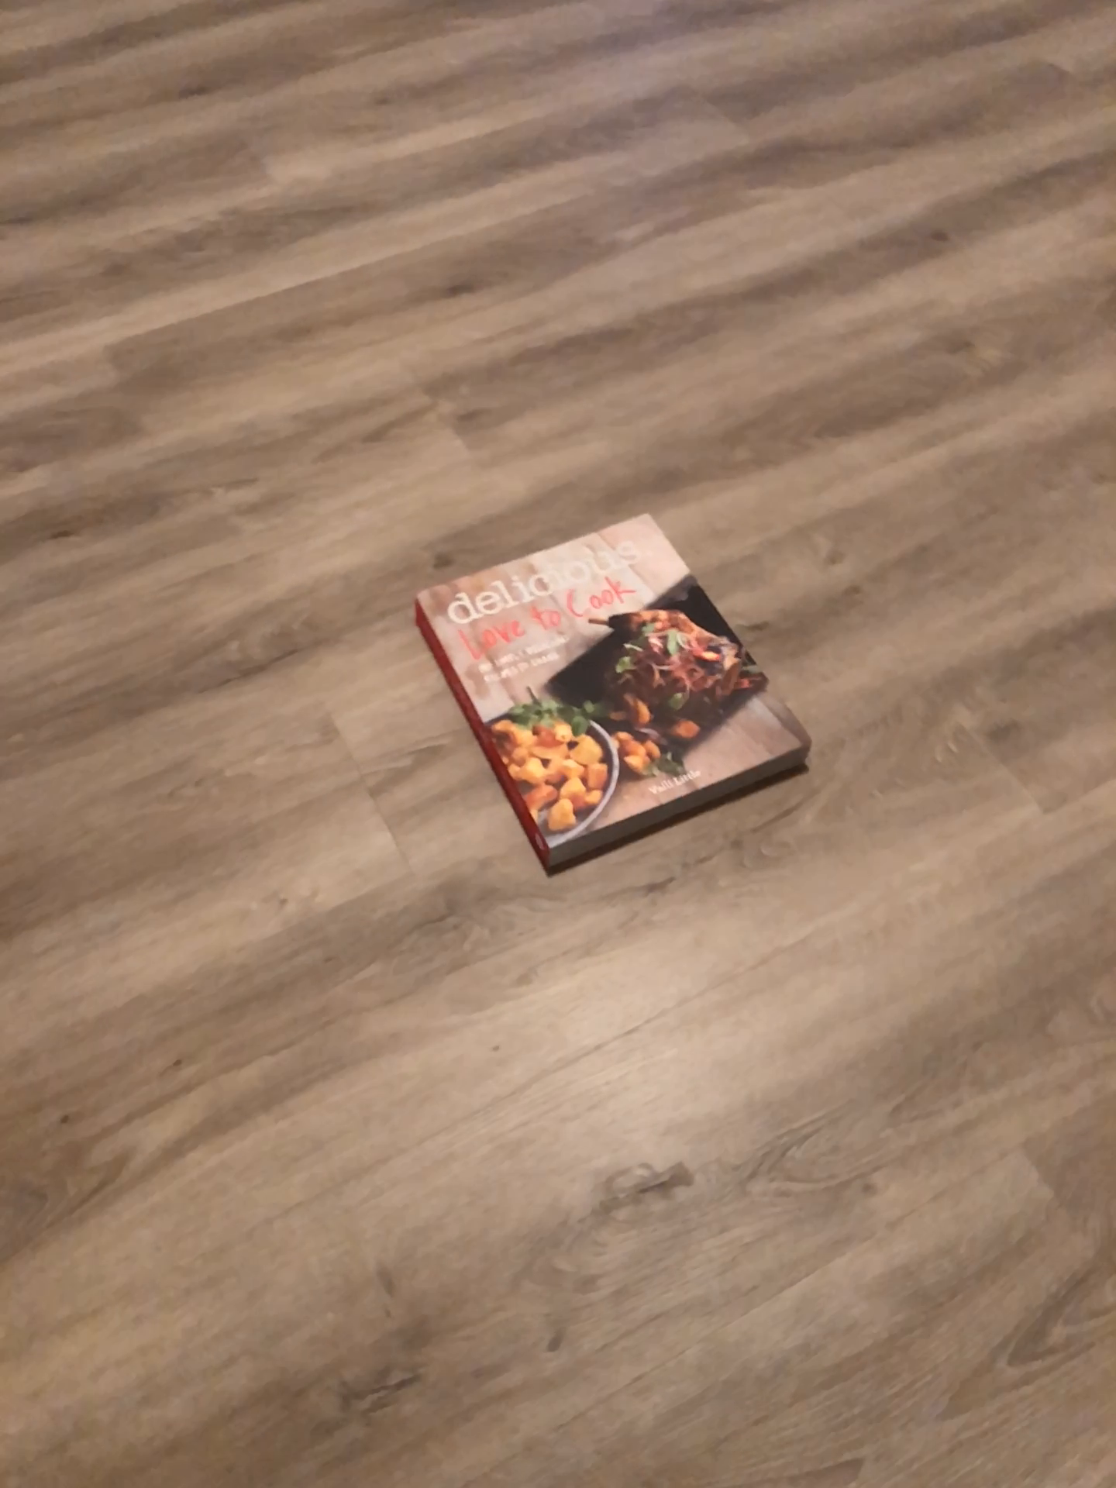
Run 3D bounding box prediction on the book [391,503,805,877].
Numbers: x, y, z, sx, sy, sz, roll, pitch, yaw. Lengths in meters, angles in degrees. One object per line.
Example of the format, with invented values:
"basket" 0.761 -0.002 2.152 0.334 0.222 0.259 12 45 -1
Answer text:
"book" 0.023 -0.057 0.979 0.222 0.030 0.290 -21 56 -13
